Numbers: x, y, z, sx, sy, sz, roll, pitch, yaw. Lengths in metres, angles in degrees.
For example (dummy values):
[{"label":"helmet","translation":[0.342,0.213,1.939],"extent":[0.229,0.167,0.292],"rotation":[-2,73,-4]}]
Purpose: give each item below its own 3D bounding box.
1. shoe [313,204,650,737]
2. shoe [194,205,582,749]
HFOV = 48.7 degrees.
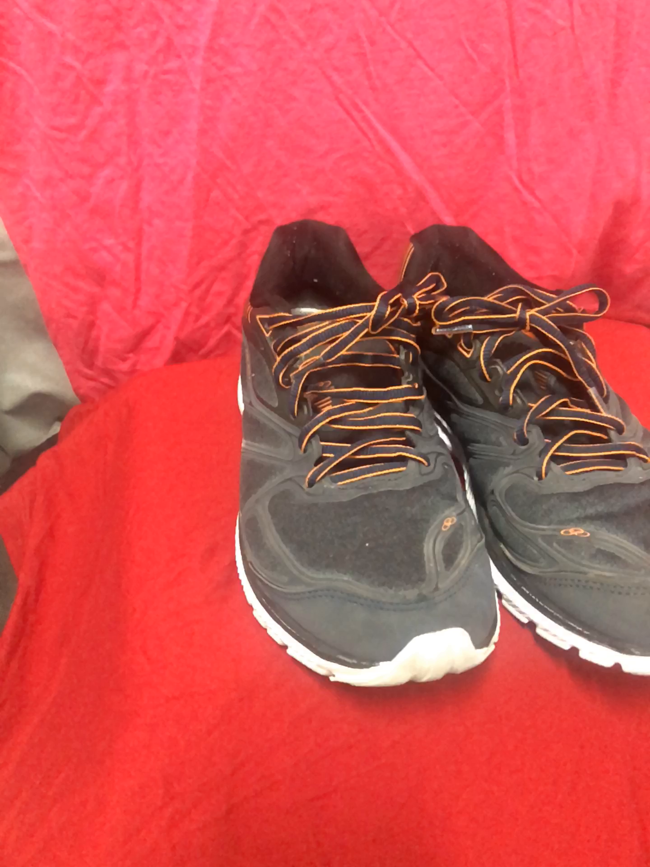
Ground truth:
[{"label":"shoe","translation":[0.087,-0.015,0.365],"extent":[0.110,0.099,0.282],"rotation":[-11,38,-12]},{"label":"shoe","translation":[0.000,-0.014,0.345],"extent":[0.110,0.089,0.282],"rotation":[-7,37,-6]}]
